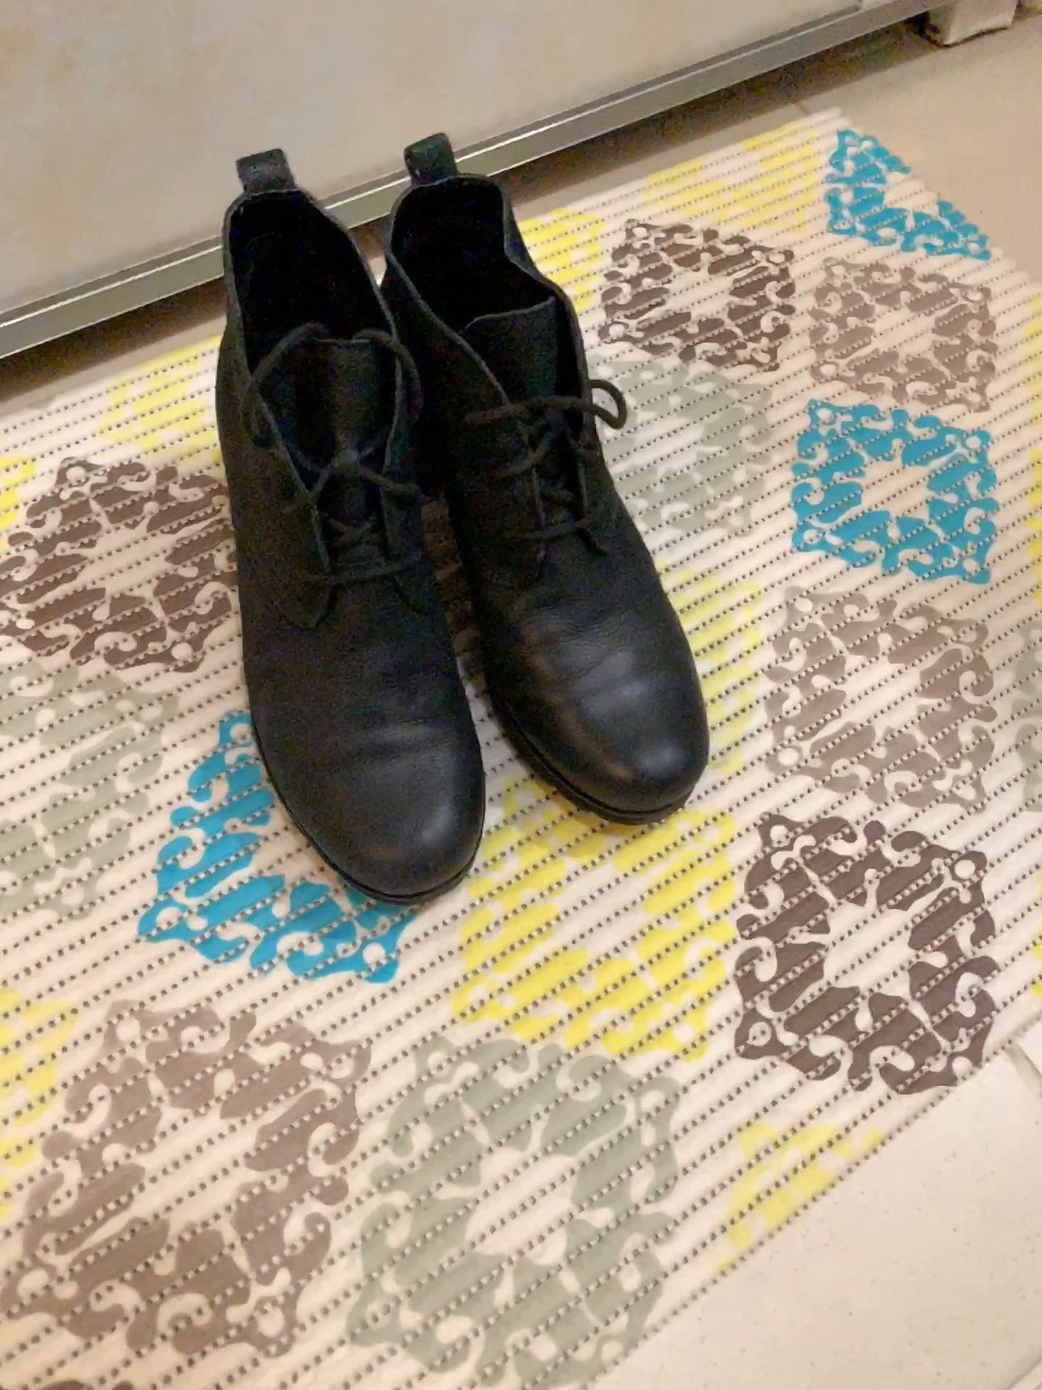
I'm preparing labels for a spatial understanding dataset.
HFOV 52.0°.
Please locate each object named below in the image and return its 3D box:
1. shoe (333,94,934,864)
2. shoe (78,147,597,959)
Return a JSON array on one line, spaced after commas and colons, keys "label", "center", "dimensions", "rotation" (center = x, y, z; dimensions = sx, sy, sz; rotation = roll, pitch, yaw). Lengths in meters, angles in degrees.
[{"label": "shoe", "center": [0.020, -0.078, 0.405], "dimensions": [0.090, 0.150, 0.230], "rotation": [-22, 67, -17]}, {"label": "shoe", "center": [-0.070, -0.048, 0.382], "dimensions": [0.090, 0.150, 0.230], "rotation": [-16, 65, -14]}]
